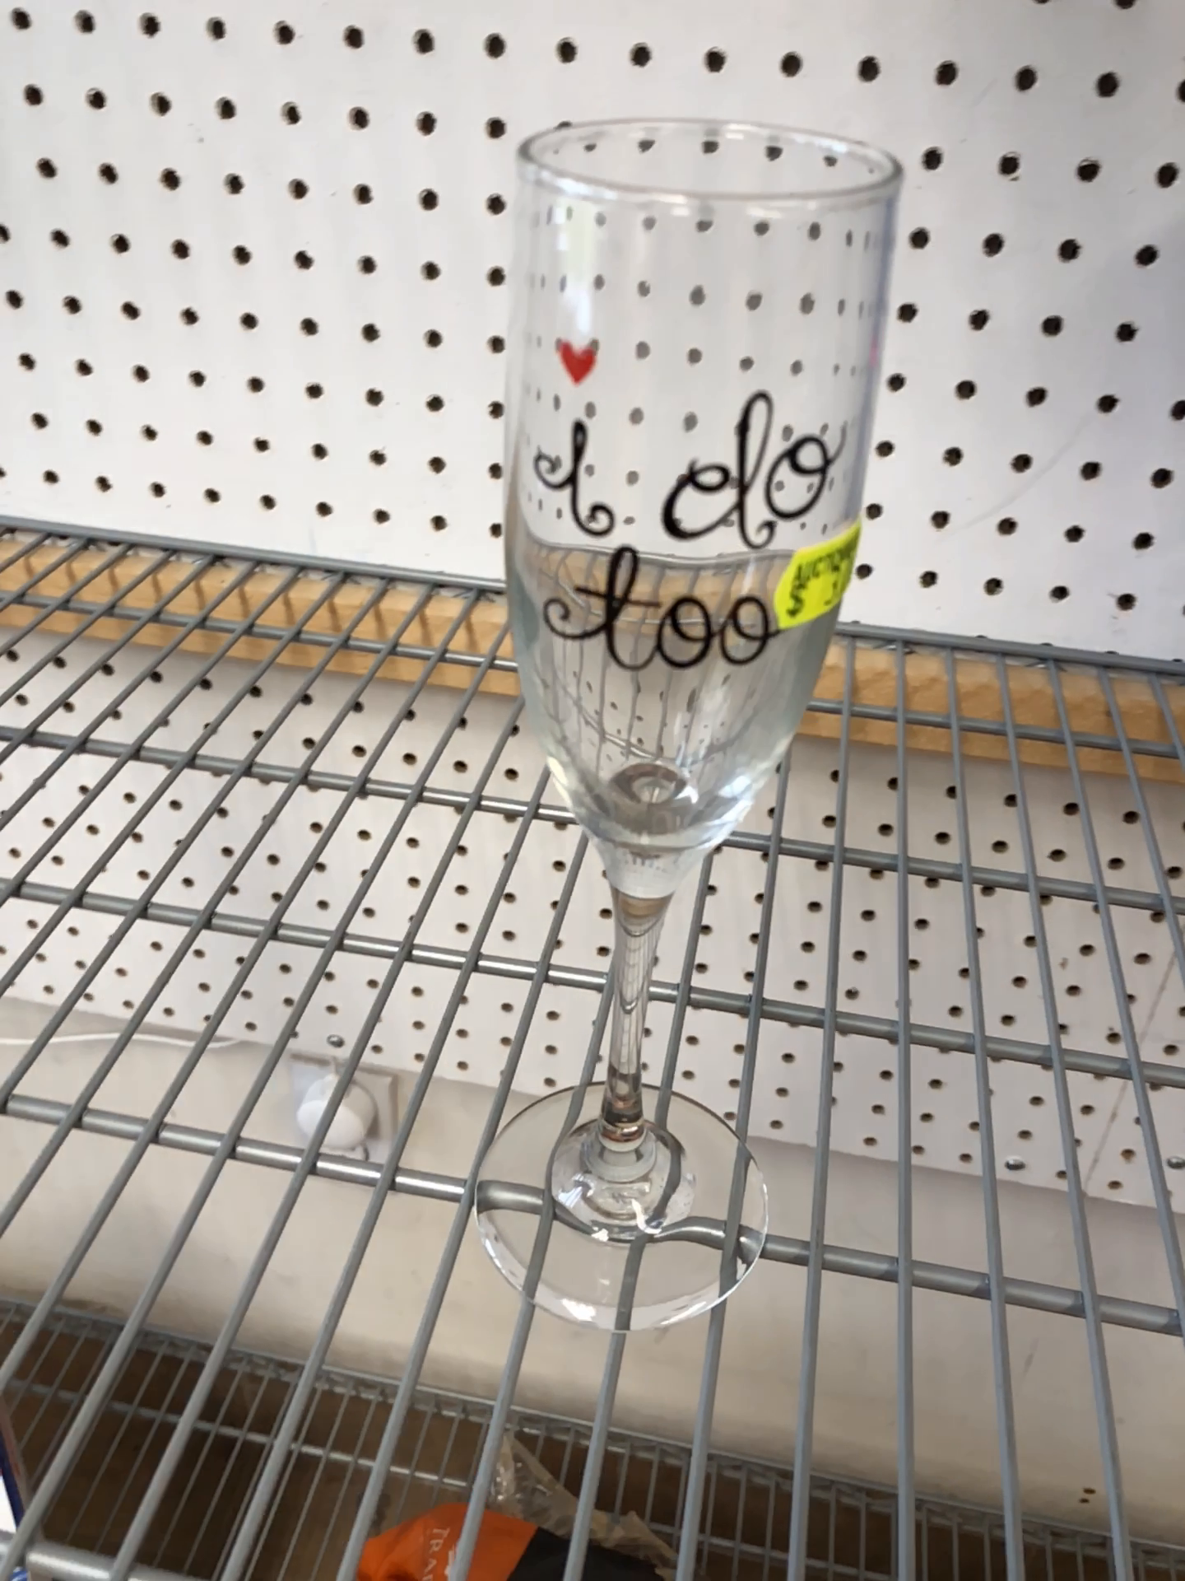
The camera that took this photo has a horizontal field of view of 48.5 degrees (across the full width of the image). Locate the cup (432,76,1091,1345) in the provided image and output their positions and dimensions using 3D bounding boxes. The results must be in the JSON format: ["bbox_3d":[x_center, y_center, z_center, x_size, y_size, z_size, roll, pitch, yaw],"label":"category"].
[{"bbox_3d":[0.015,0.000,0.228,0.070,0.209,0.070,2,34,-1],"label":"cup"}]
